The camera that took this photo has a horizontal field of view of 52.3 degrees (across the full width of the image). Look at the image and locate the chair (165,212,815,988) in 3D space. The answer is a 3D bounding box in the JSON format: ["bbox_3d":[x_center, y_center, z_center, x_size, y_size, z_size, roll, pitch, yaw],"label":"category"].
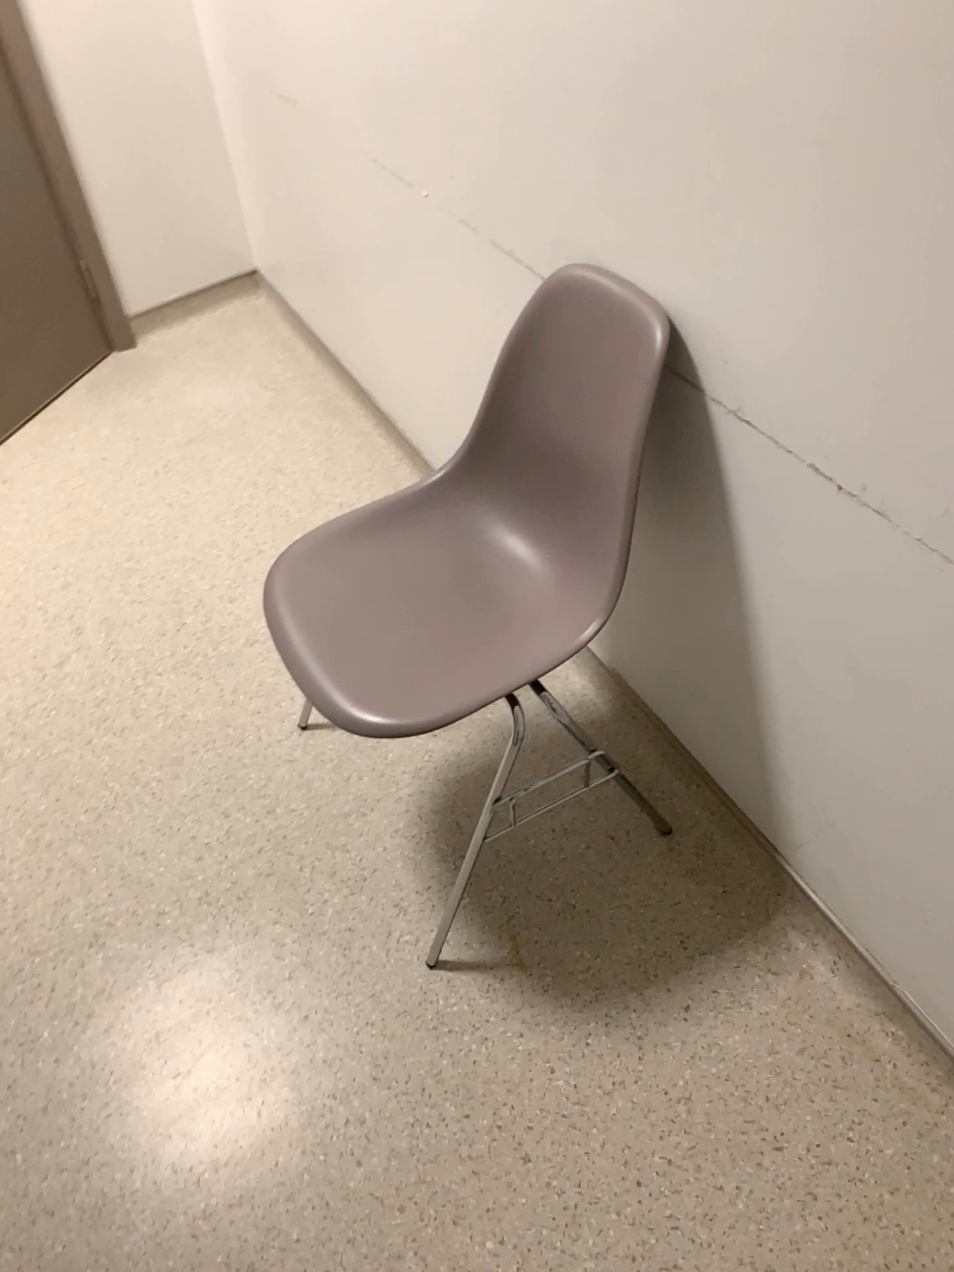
[{"bbox_3d":[0.007,-0.054,1.387,0.541,0.782,0.585,-23,46,-17],"label":"chair"}]
